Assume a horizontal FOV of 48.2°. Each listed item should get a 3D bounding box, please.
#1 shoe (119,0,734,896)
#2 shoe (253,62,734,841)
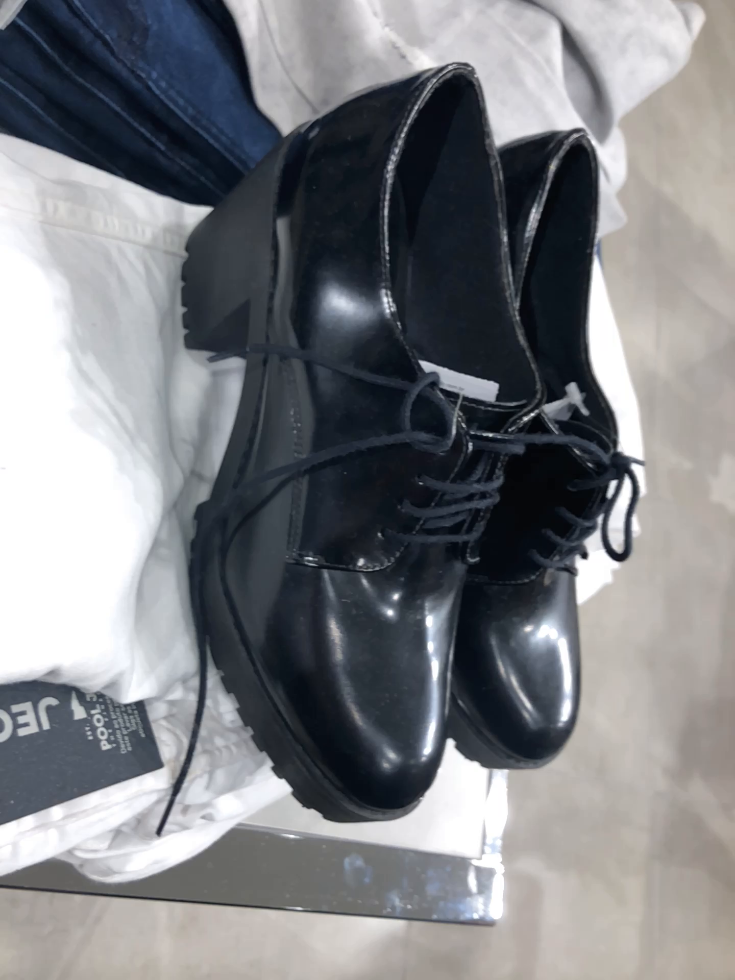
[{"bbox_3d":[0.005,-0.012,0.305,0.101,0.159,0.260,-5,77,-37],"label":"shoe"},{"bbox_3d":[0.067,-0.008,0.348,0.101,0.149,0.260,-14,83,-38],"label":"shoe"}]
